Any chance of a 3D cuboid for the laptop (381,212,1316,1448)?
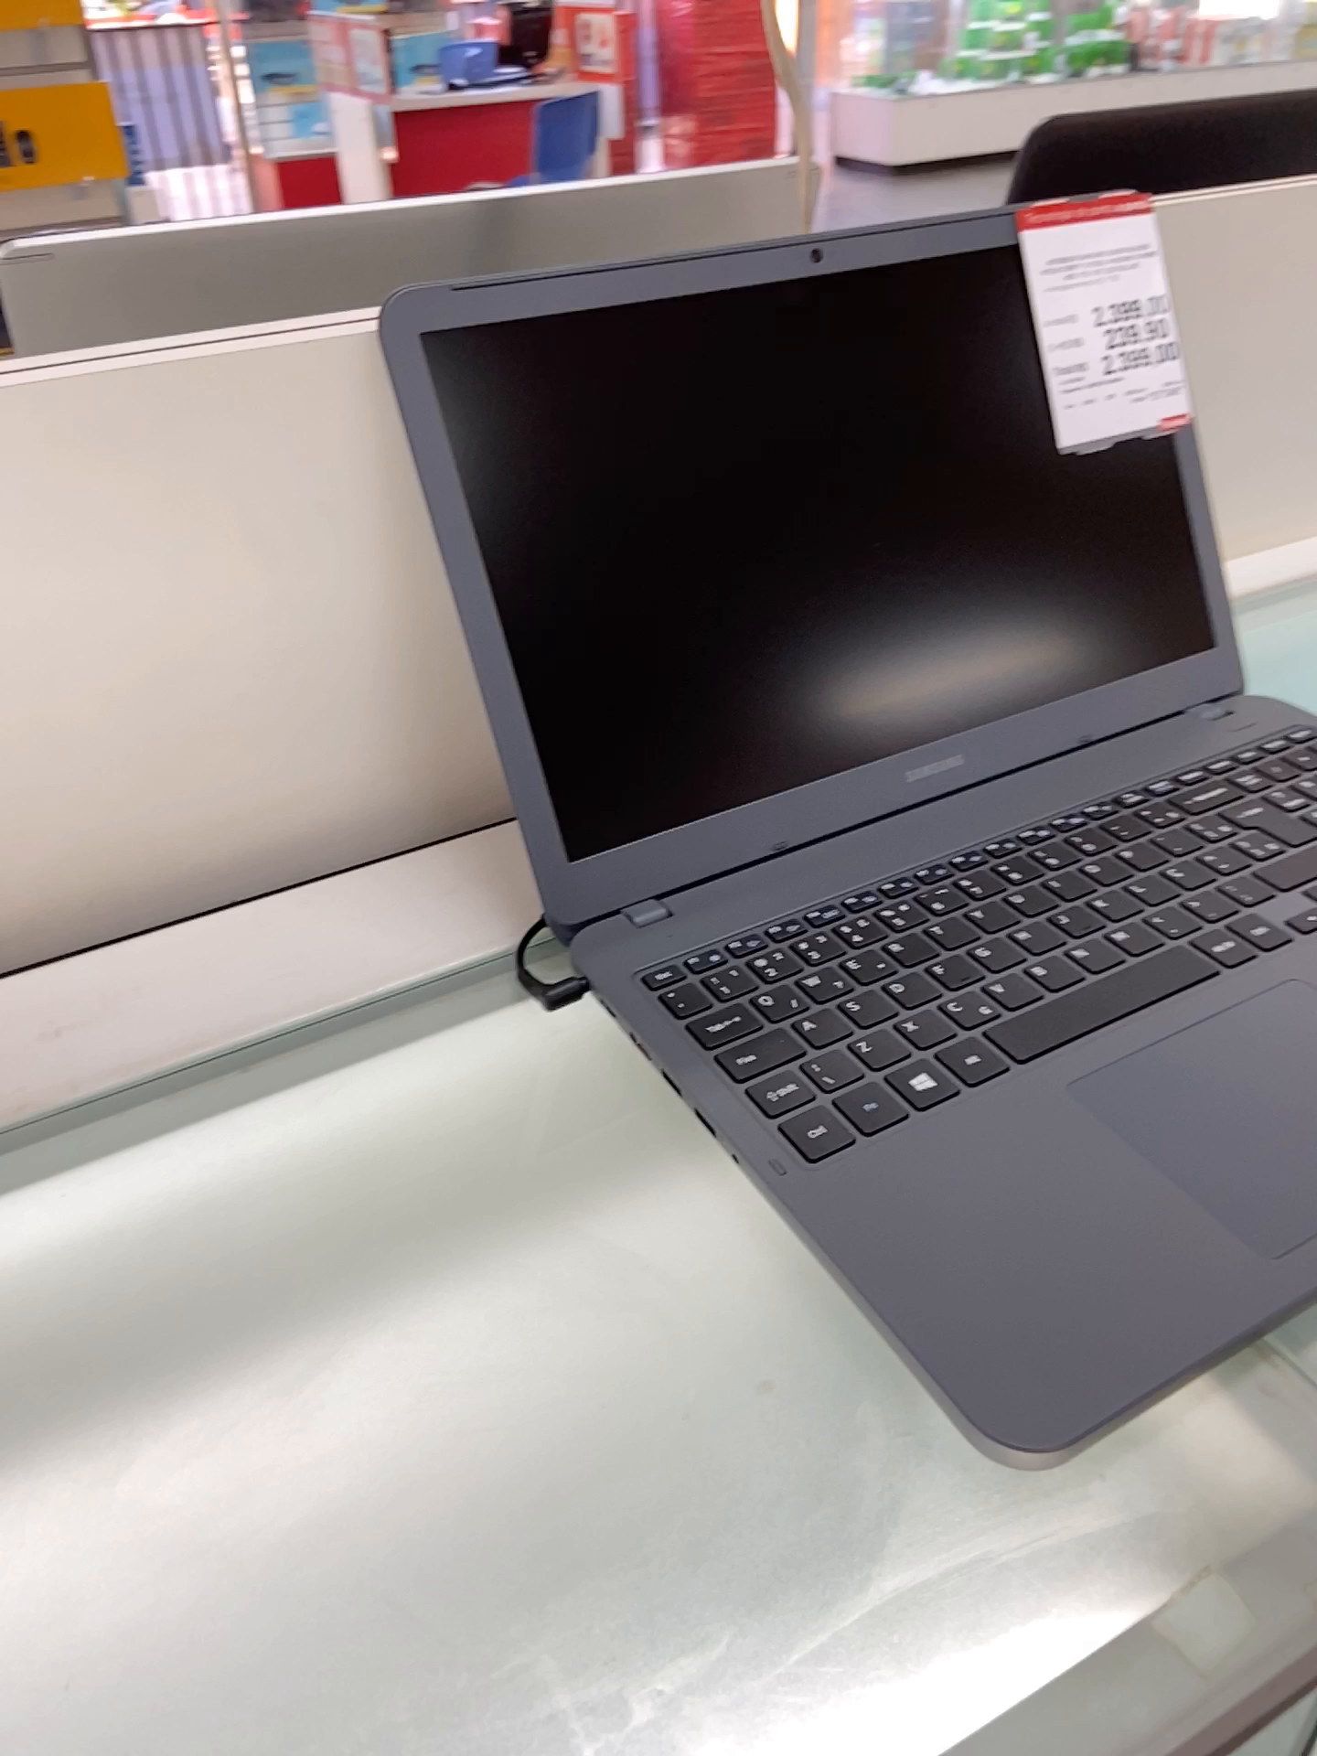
[{"bbox_3d":[0.153,-0.082,0.464,0.361,0.197,0.353,-19,37,-23],"label":"laptop"}]
